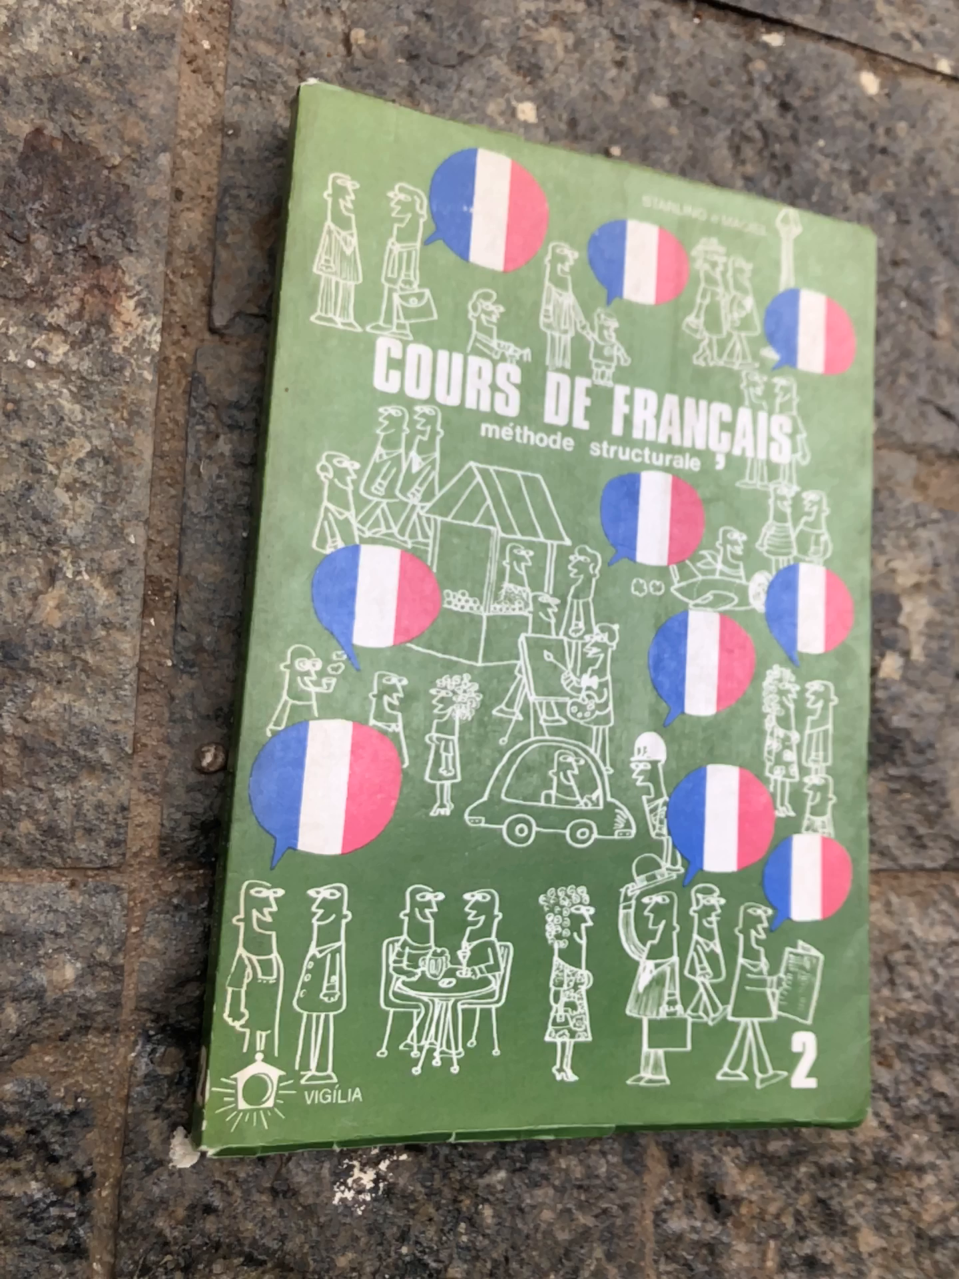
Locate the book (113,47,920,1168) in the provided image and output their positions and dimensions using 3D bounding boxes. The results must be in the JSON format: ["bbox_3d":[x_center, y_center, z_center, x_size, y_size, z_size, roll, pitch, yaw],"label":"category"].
[{"bbox_3d":[0.021,-0.005,0.231,0.167,0.013,0.211,6,82,-18],"label":"book"}]
